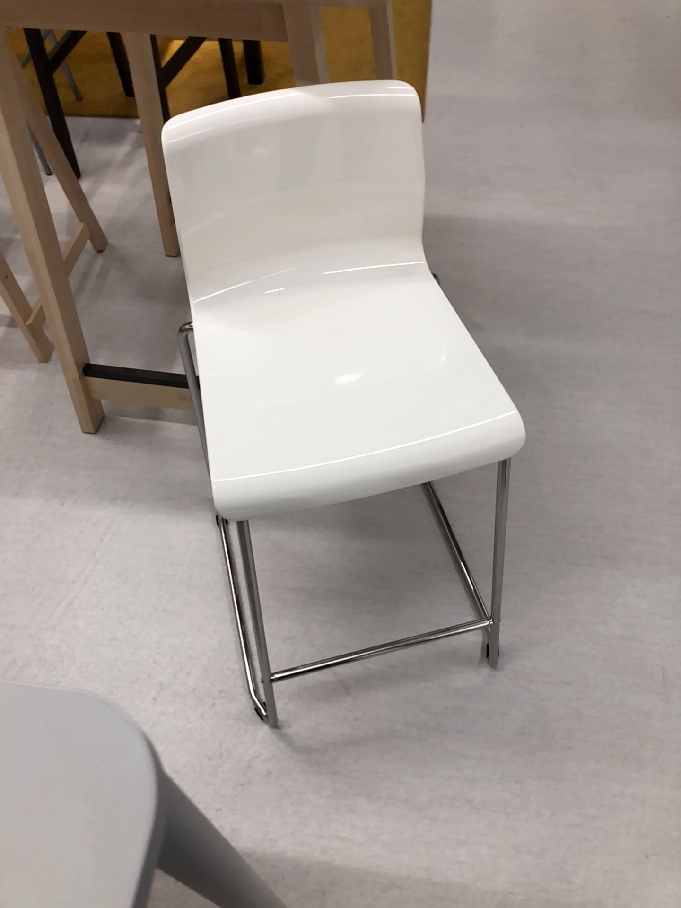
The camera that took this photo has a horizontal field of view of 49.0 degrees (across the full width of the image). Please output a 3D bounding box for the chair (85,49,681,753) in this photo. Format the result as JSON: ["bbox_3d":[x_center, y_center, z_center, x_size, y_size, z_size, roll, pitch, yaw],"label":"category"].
[{"bbox_3d":[0.019,-0.012,1.114,0.500,0.826,0.553,-14,55,-8],"label":"chair"}]
